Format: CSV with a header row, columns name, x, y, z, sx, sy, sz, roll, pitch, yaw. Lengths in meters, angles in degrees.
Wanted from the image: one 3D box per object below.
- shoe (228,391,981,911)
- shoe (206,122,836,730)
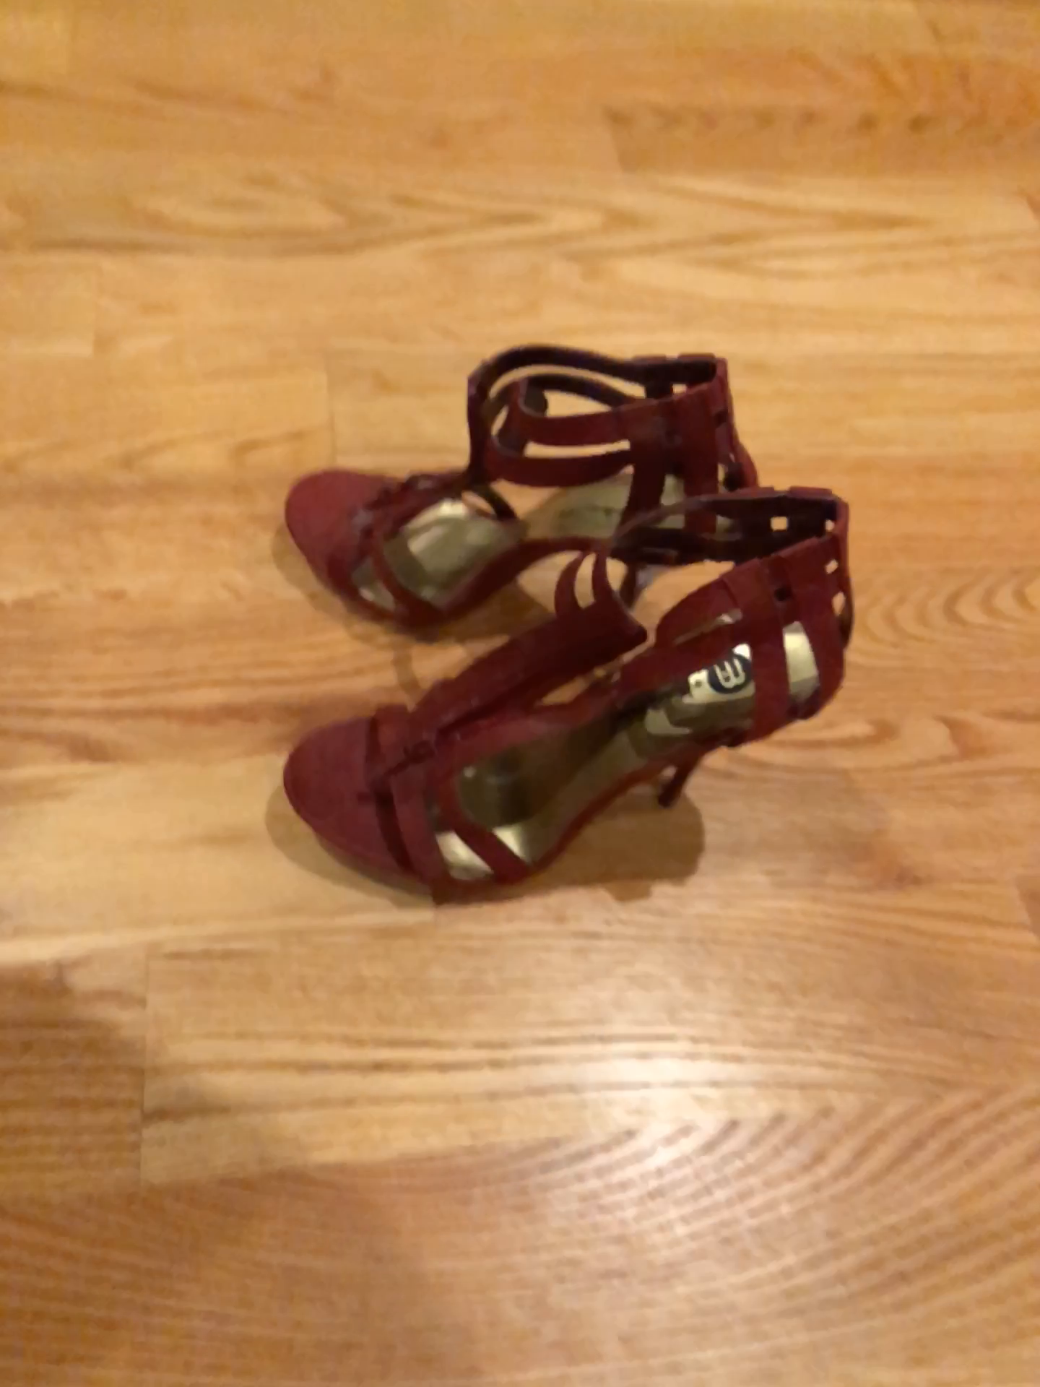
name,x,y,z,sx,sy,sz,roll,pitch,yaw
shoe,0.013,-0.008,0.403,0.206,0.175,0.085,-3,57,-10
shoe,-0.005,-0.097,0.465,0.199,0.175,0.085,19,56,5
